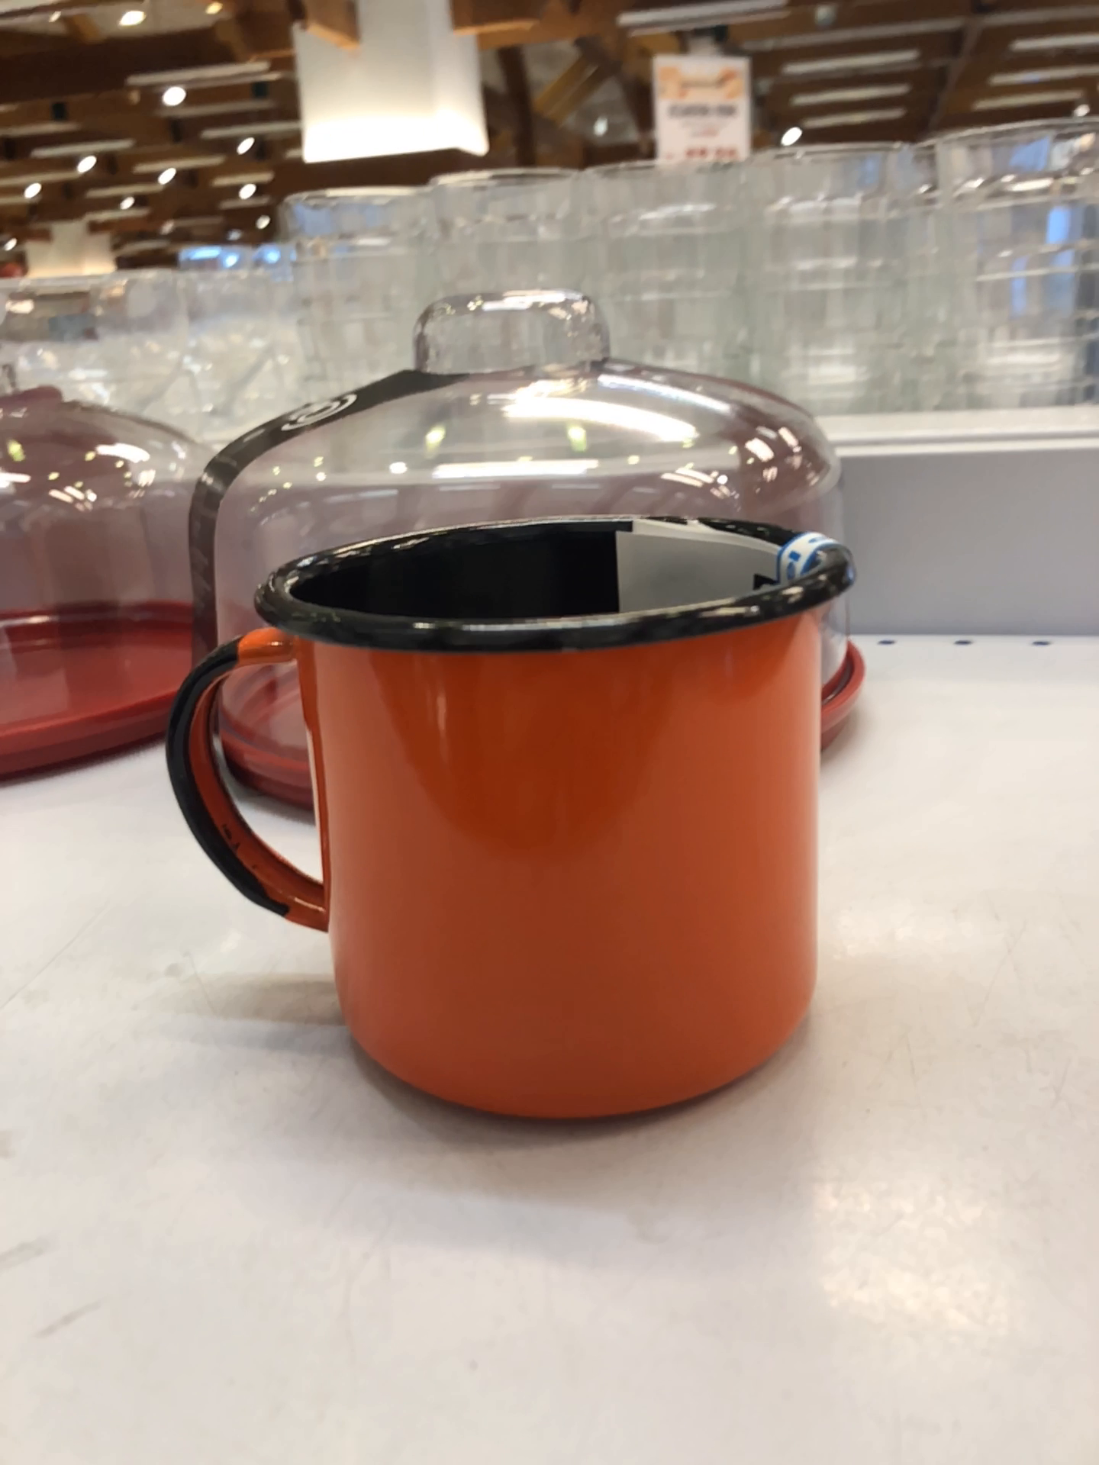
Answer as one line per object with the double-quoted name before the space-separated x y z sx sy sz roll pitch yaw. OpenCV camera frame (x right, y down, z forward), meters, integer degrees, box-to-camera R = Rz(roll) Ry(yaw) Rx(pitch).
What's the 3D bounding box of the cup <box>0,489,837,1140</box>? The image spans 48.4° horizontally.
"cup" -0.012 0.005 0.193 0.110 0.070 0.080 0 19 13
